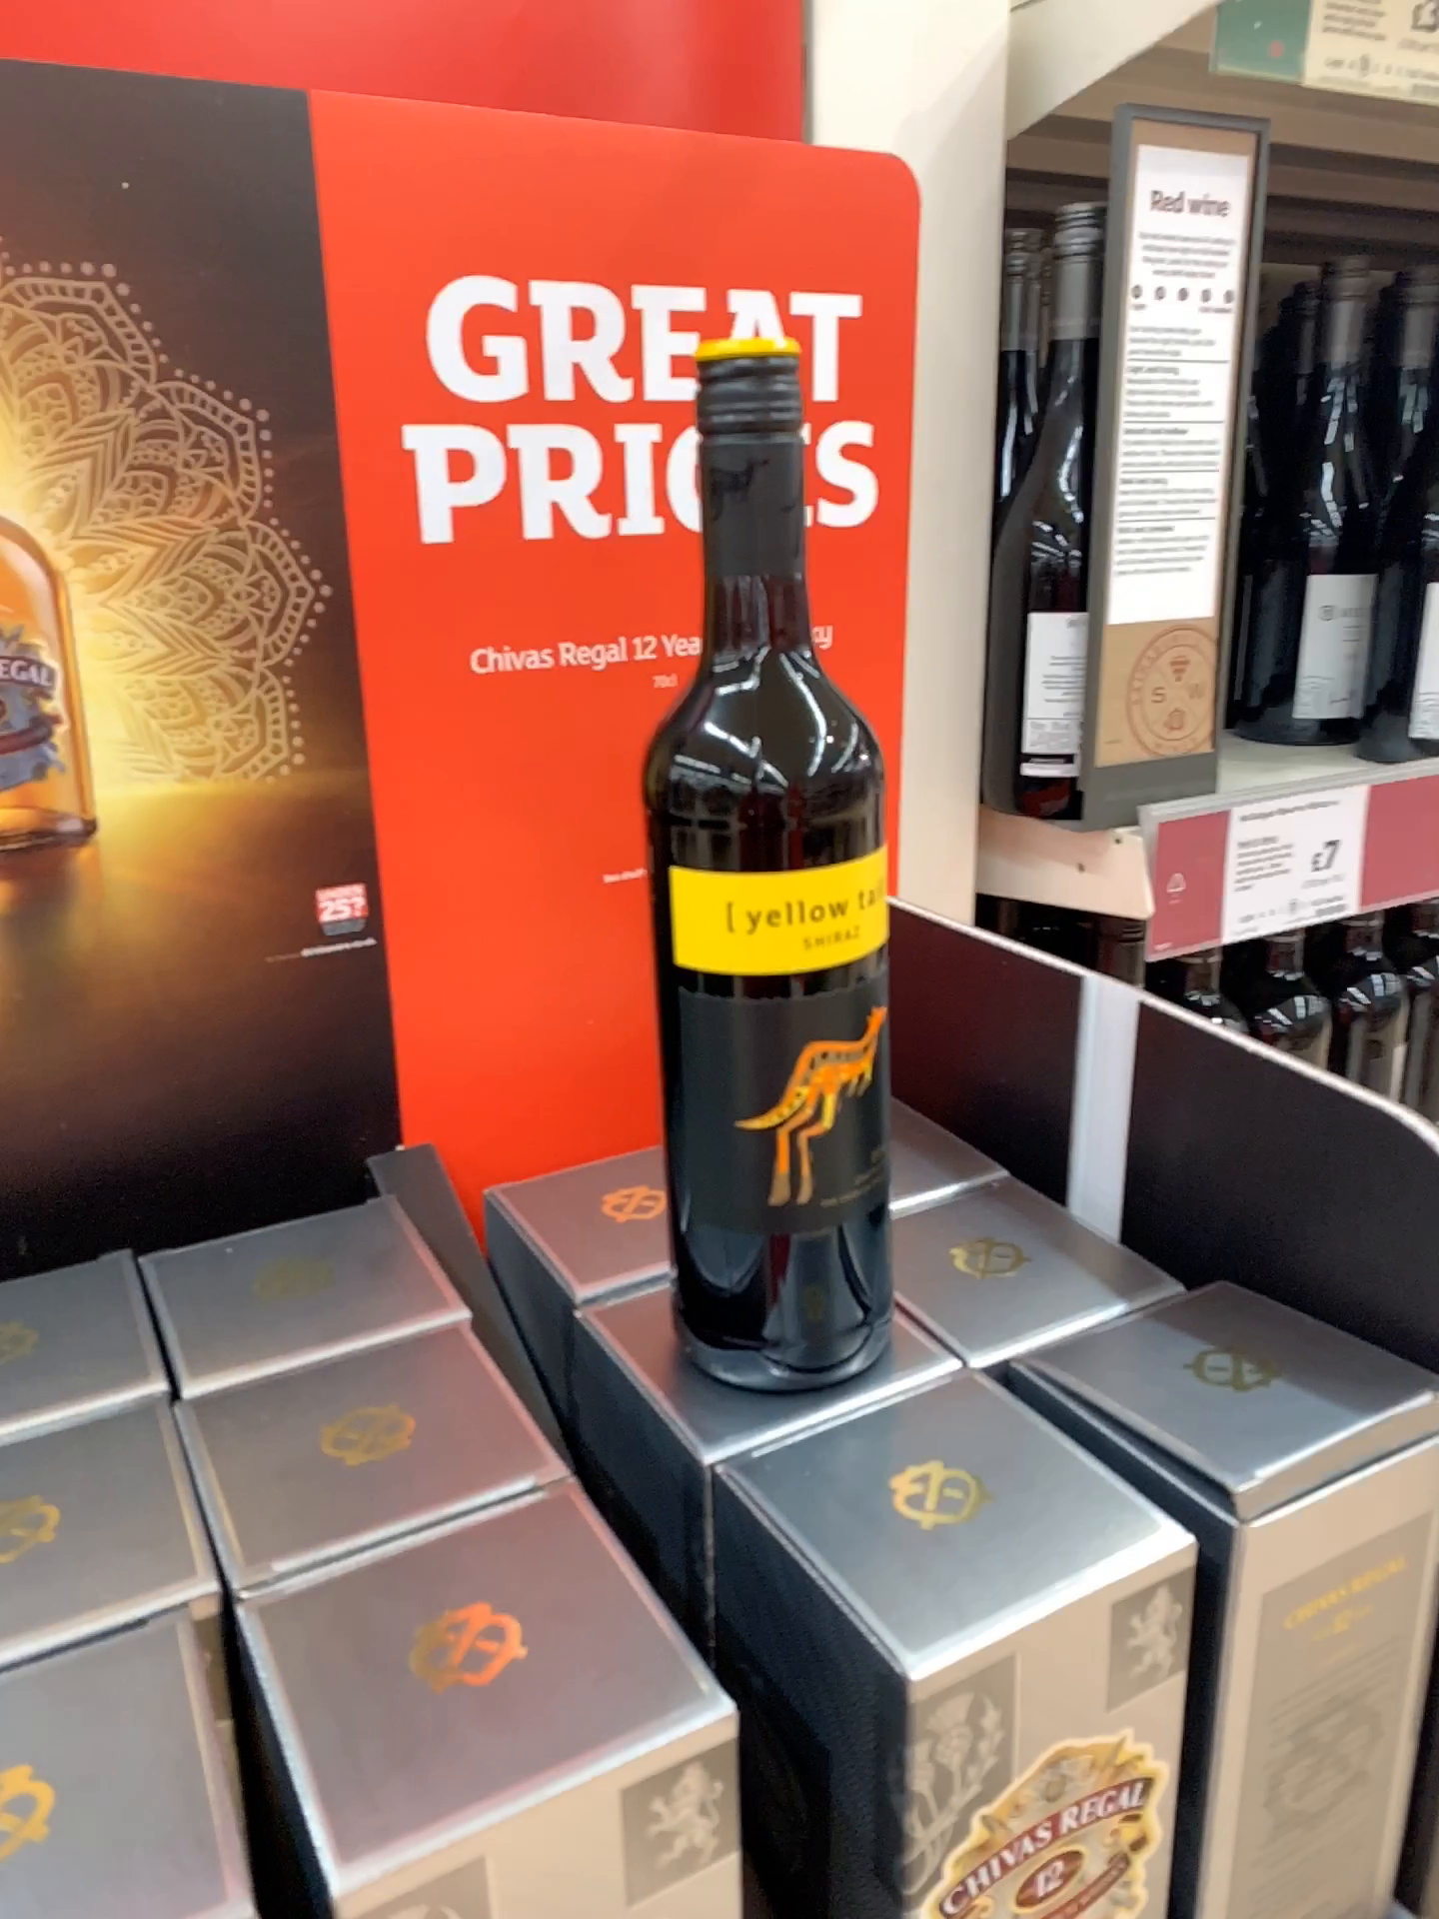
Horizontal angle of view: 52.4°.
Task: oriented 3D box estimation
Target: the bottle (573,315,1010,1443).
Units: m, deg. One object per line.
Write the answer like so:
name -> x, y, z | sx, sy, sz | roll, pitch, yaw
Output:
bottle -> 0.019, -0.022, 0.441 | 0.087, 0.308, 0.081 | -1, 18, 0
